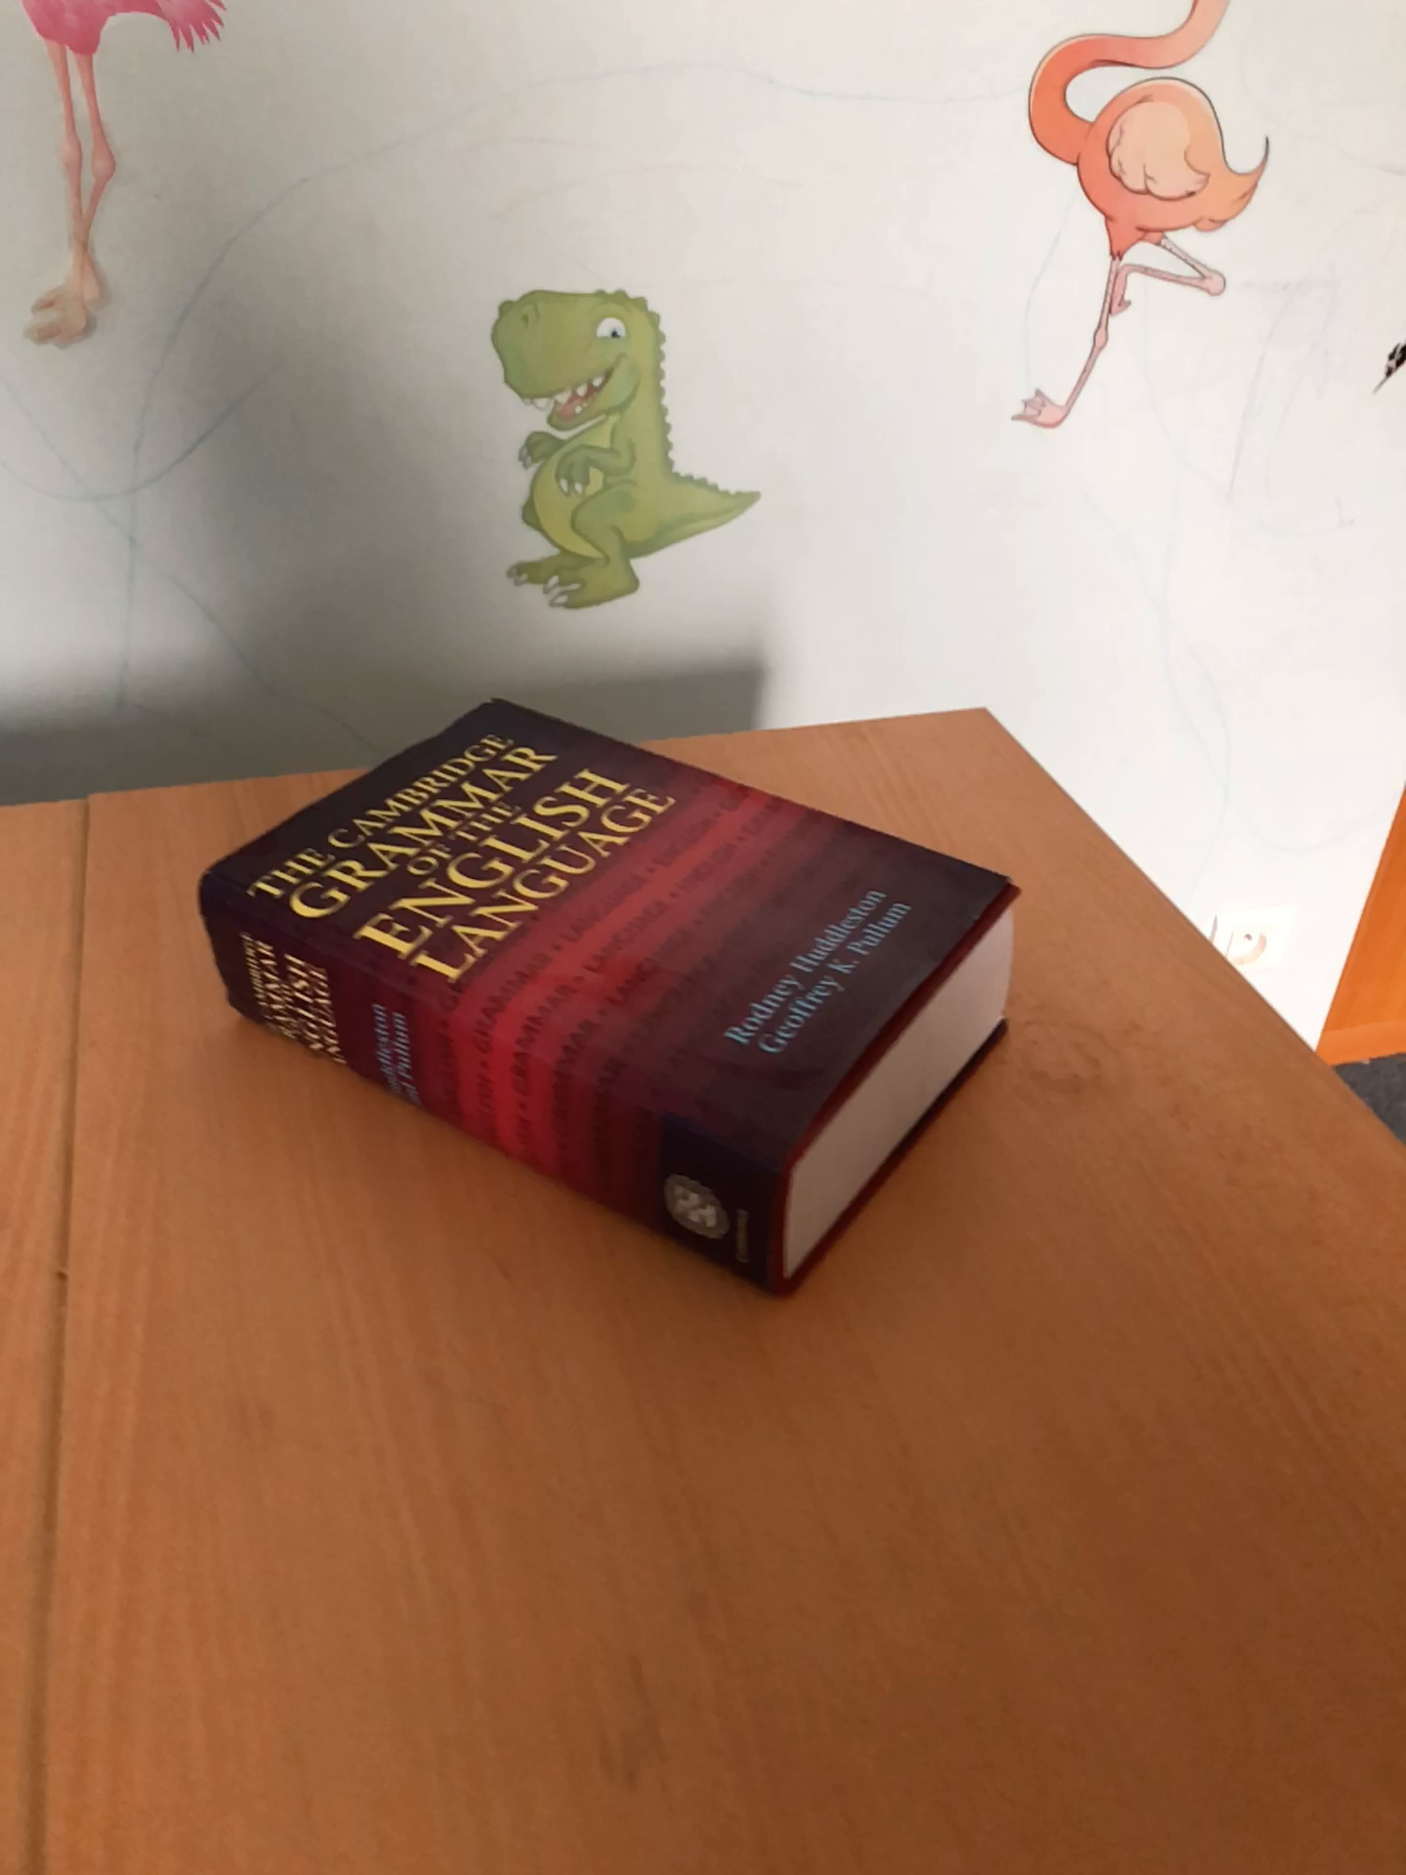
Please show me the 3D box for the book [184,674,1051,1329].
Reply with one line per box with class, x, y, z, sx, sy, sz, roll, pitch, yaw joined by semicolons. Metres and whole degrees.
book;-0.030;0.004;0.600;0.260;0.070;0.196;24;41;24
